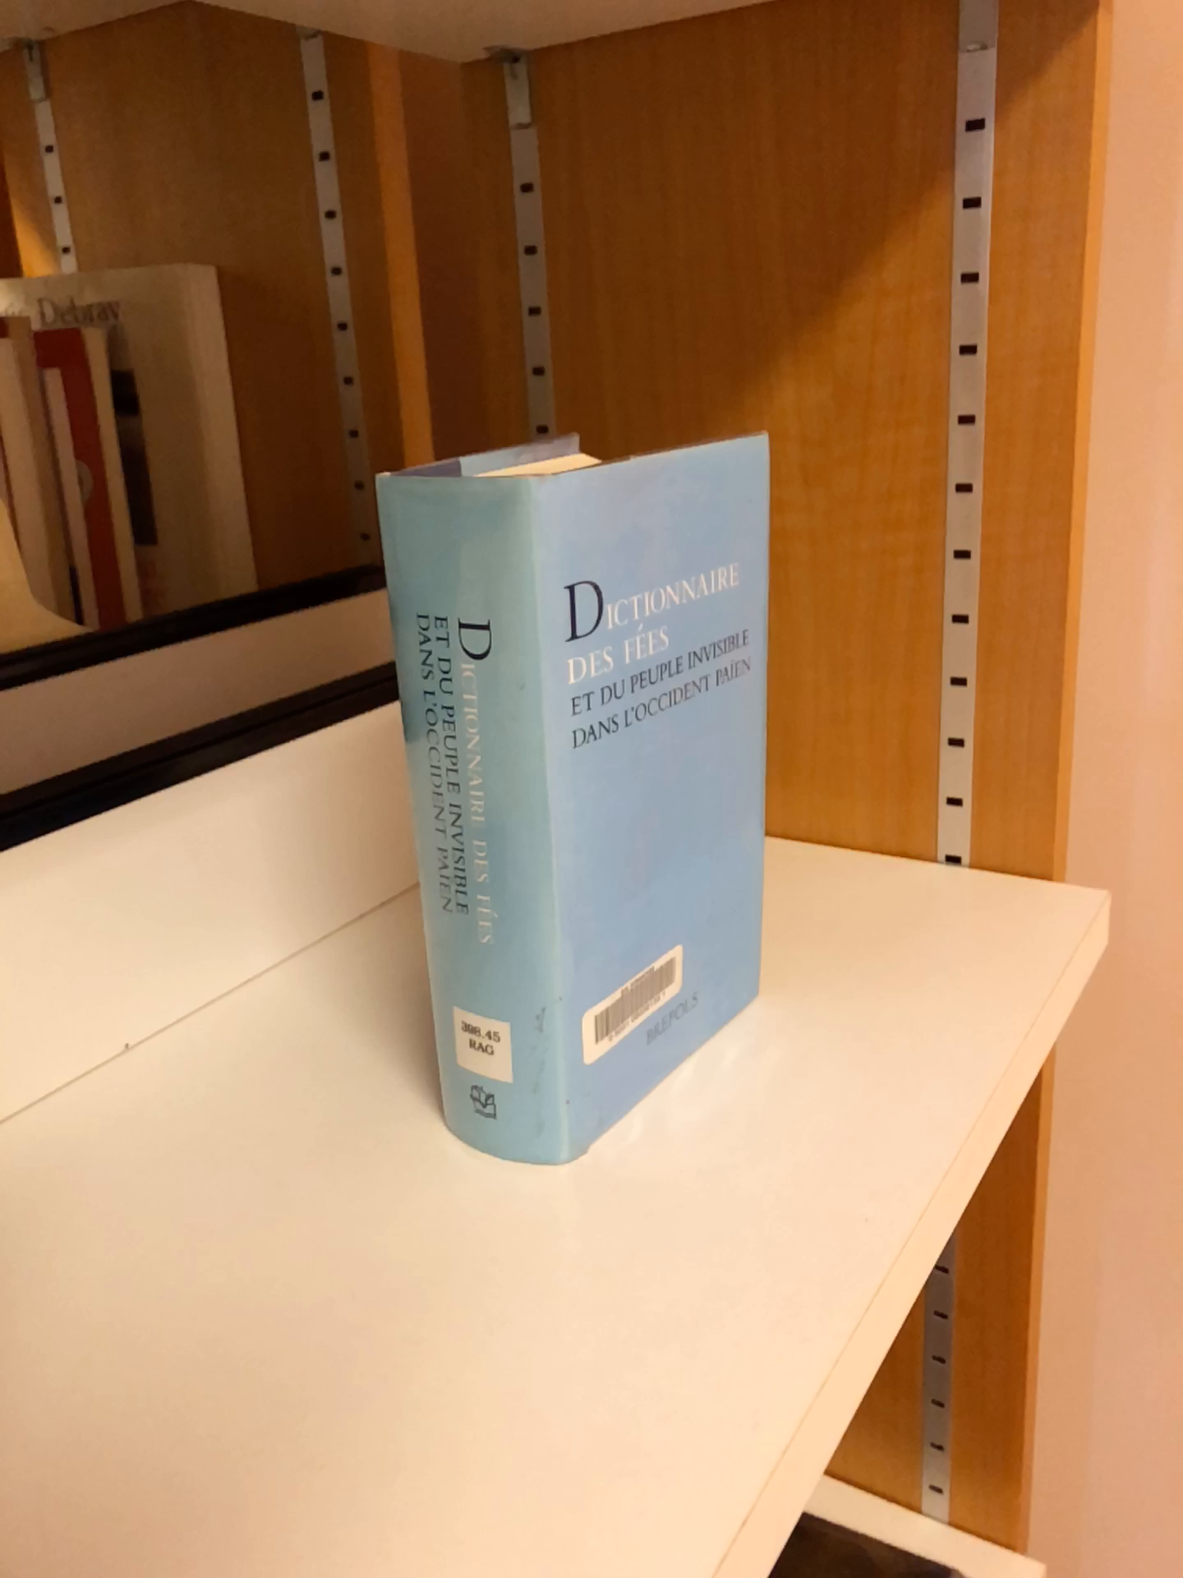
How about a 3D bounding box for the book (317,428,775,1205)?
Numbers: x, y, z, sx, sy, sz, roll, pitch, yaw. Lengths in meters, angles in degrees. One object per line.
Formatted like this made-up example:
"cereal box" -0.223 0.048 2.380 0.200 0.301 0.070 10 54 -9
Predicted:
"book" -0.004 -0.003 0.378 0.060 0.186 0.126 11 22 32
